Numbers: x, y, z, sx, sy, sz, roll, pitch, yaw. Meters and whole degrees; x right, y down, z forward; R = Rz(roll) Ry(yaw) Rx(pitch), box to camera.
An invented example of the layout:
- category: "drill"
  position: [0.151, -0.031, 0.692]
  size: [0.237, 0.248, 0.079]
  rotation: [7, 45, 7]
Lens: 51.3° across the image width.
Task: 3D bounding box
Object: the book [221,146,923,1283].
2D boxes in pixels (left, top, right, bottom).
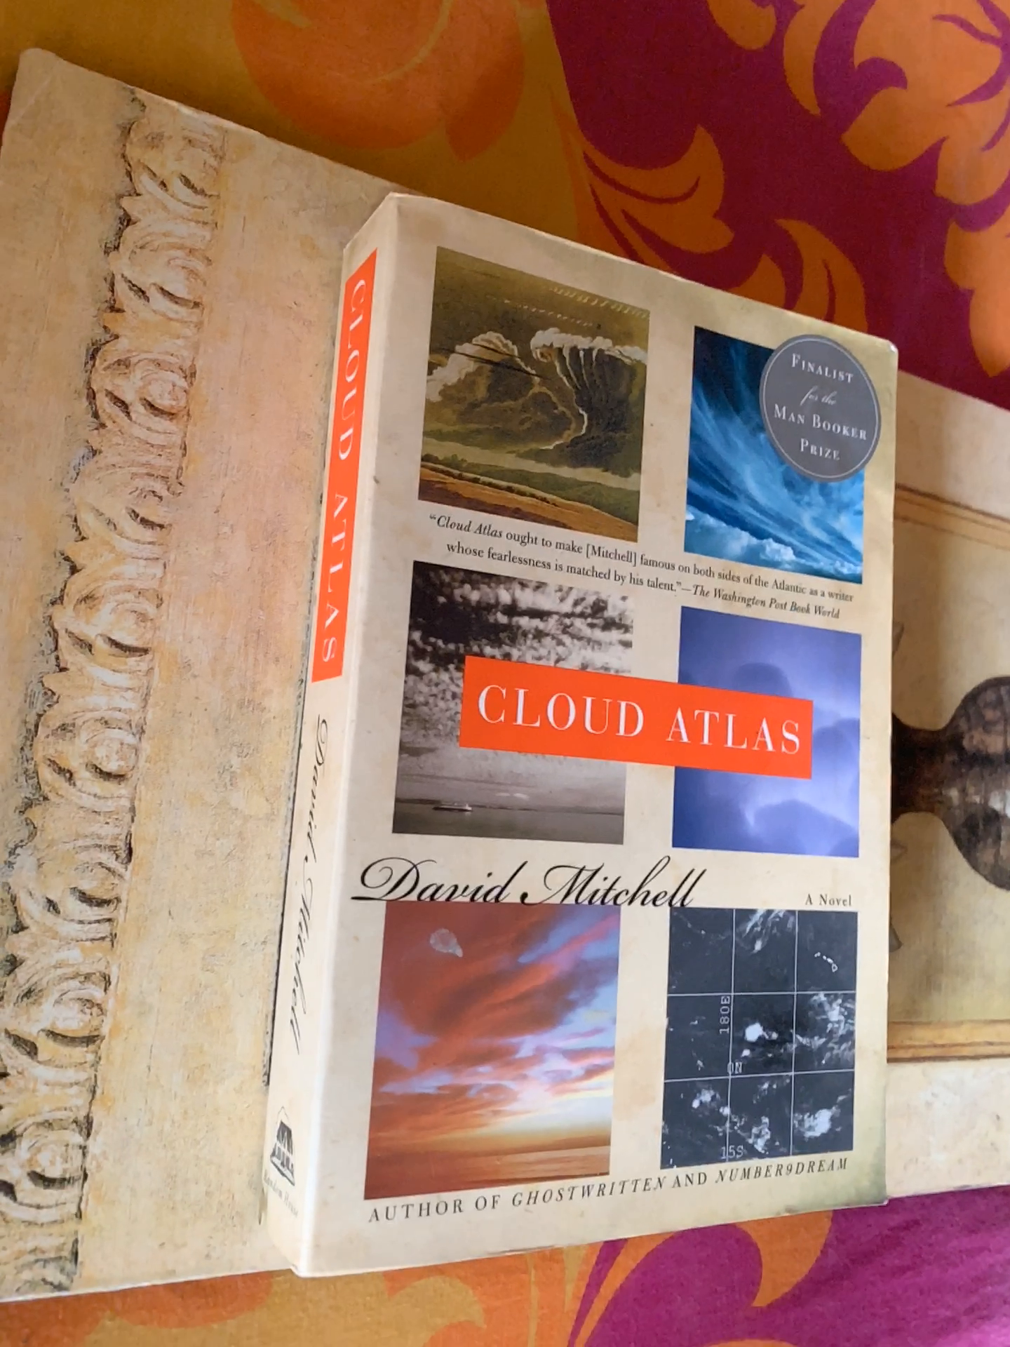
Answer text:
- category: "book"
  position: [0.021, 0.009, 0.218]
  size: [0.130, 0.040, 0.190]
  rotation: [7, 81, -22]
